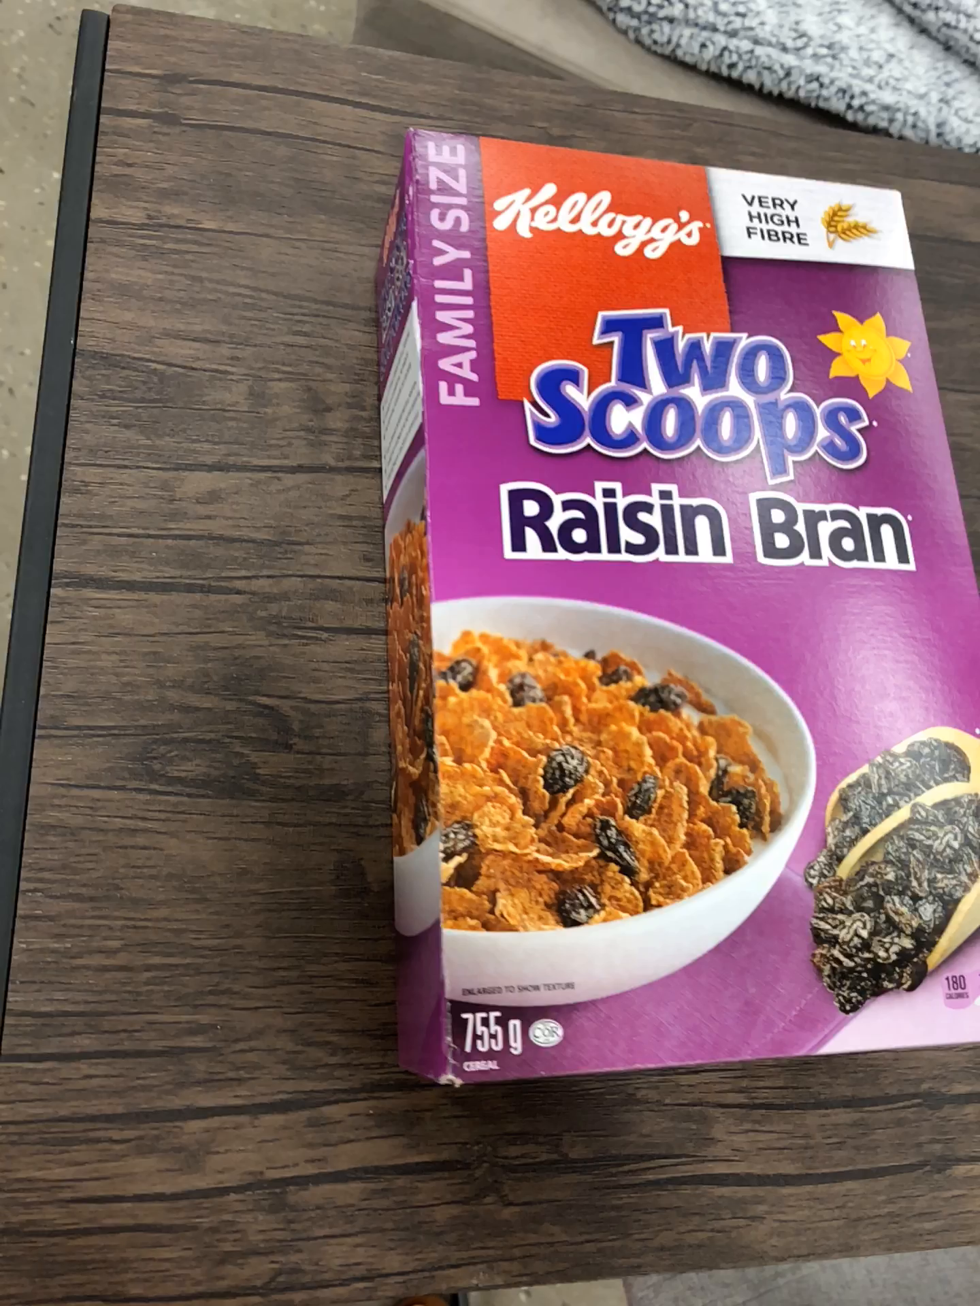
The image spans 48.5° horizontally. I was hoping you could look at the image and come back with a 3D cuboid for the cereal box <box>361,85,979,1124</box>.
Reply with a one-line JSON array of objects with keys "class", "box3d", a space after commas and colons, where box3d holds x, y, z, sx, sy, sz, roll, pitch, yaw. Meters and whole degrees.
[{"class": "cereal box", "box3d": [0.068, -0.023, 0.379, 0.210, 0.080, 0.320, 1, 73, -14]}]
